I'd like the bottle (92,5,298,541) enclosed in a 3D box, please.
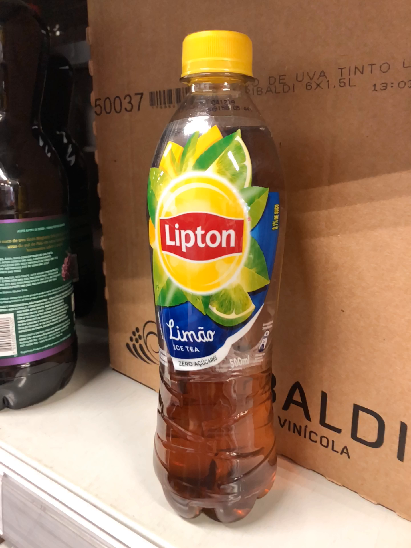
[{"bbox_3d":[0.003,0.006,0.219,0.070,0.219,0.060,3,16,17],"label":"bottle"}]
